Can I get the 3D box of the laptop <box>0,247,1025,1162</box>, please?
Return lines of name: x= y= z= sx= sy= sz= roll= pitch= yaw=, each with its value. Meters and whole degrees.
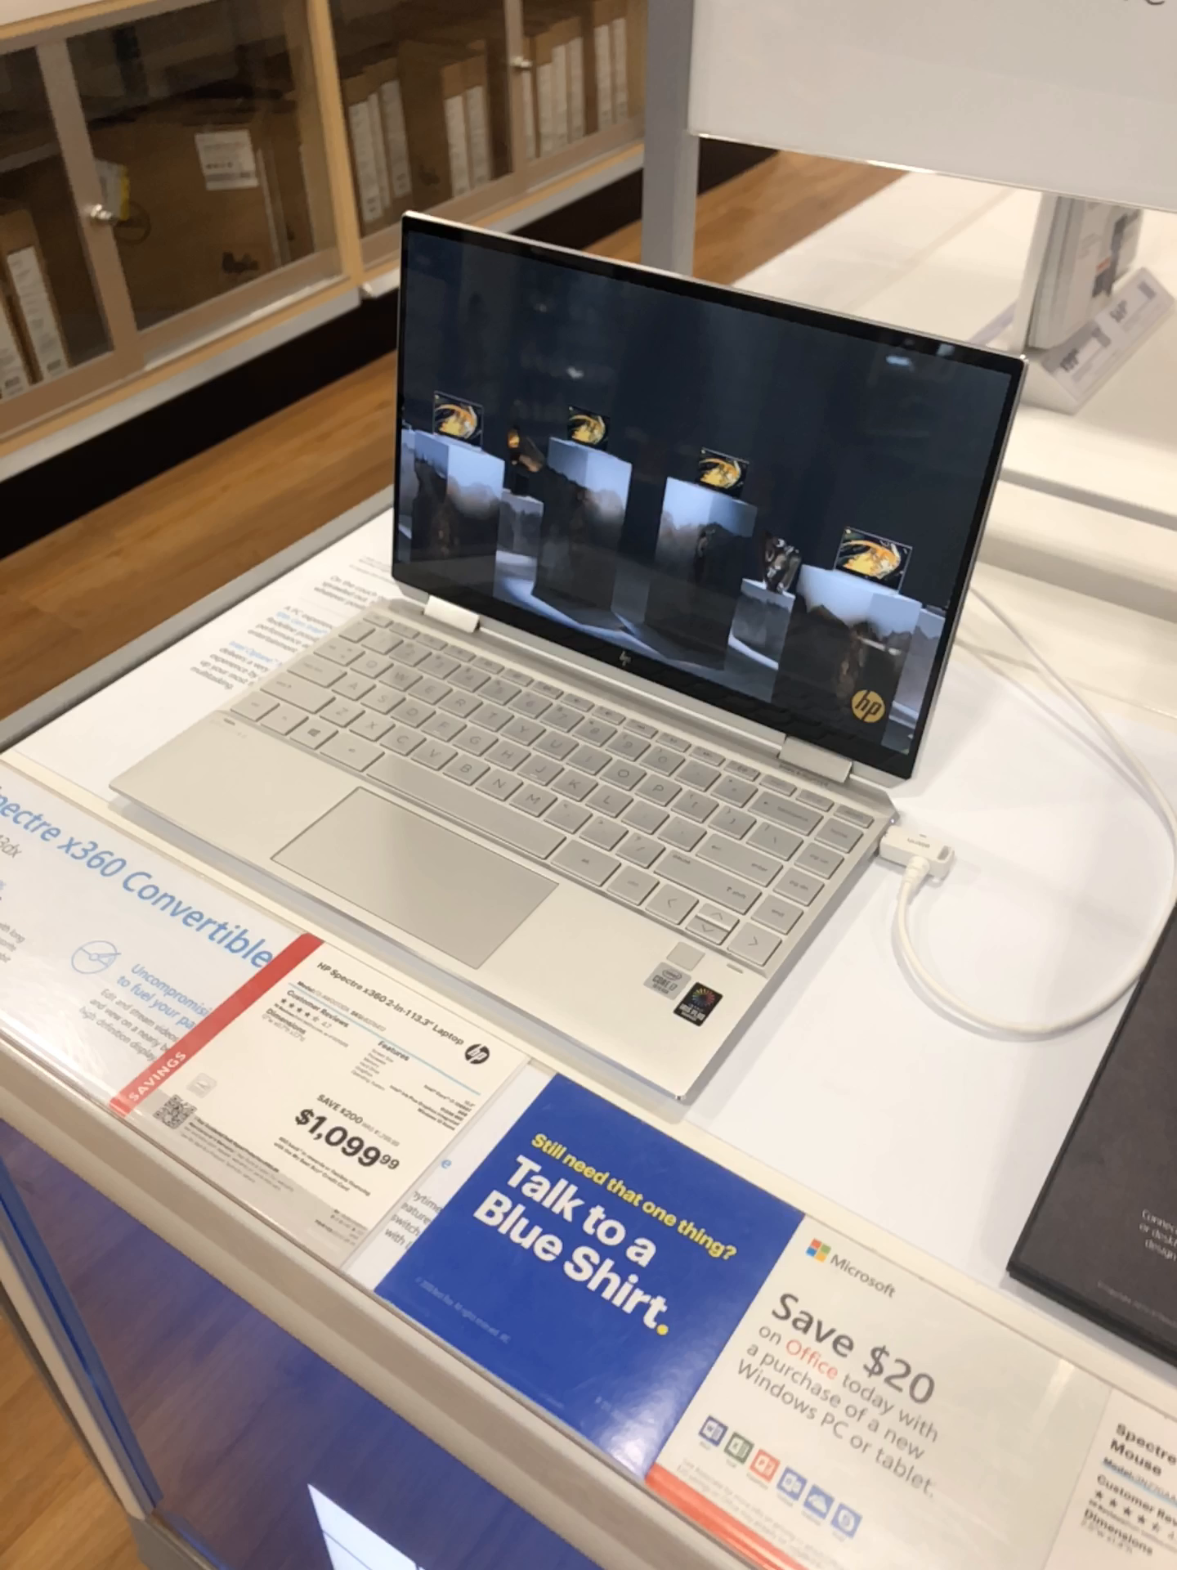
laptop: x=-0.032 y=-0.060 z=0.516 sx=0.303 sy=0.184 sz=0.228 roll=24 pitch=46 yaw=26
